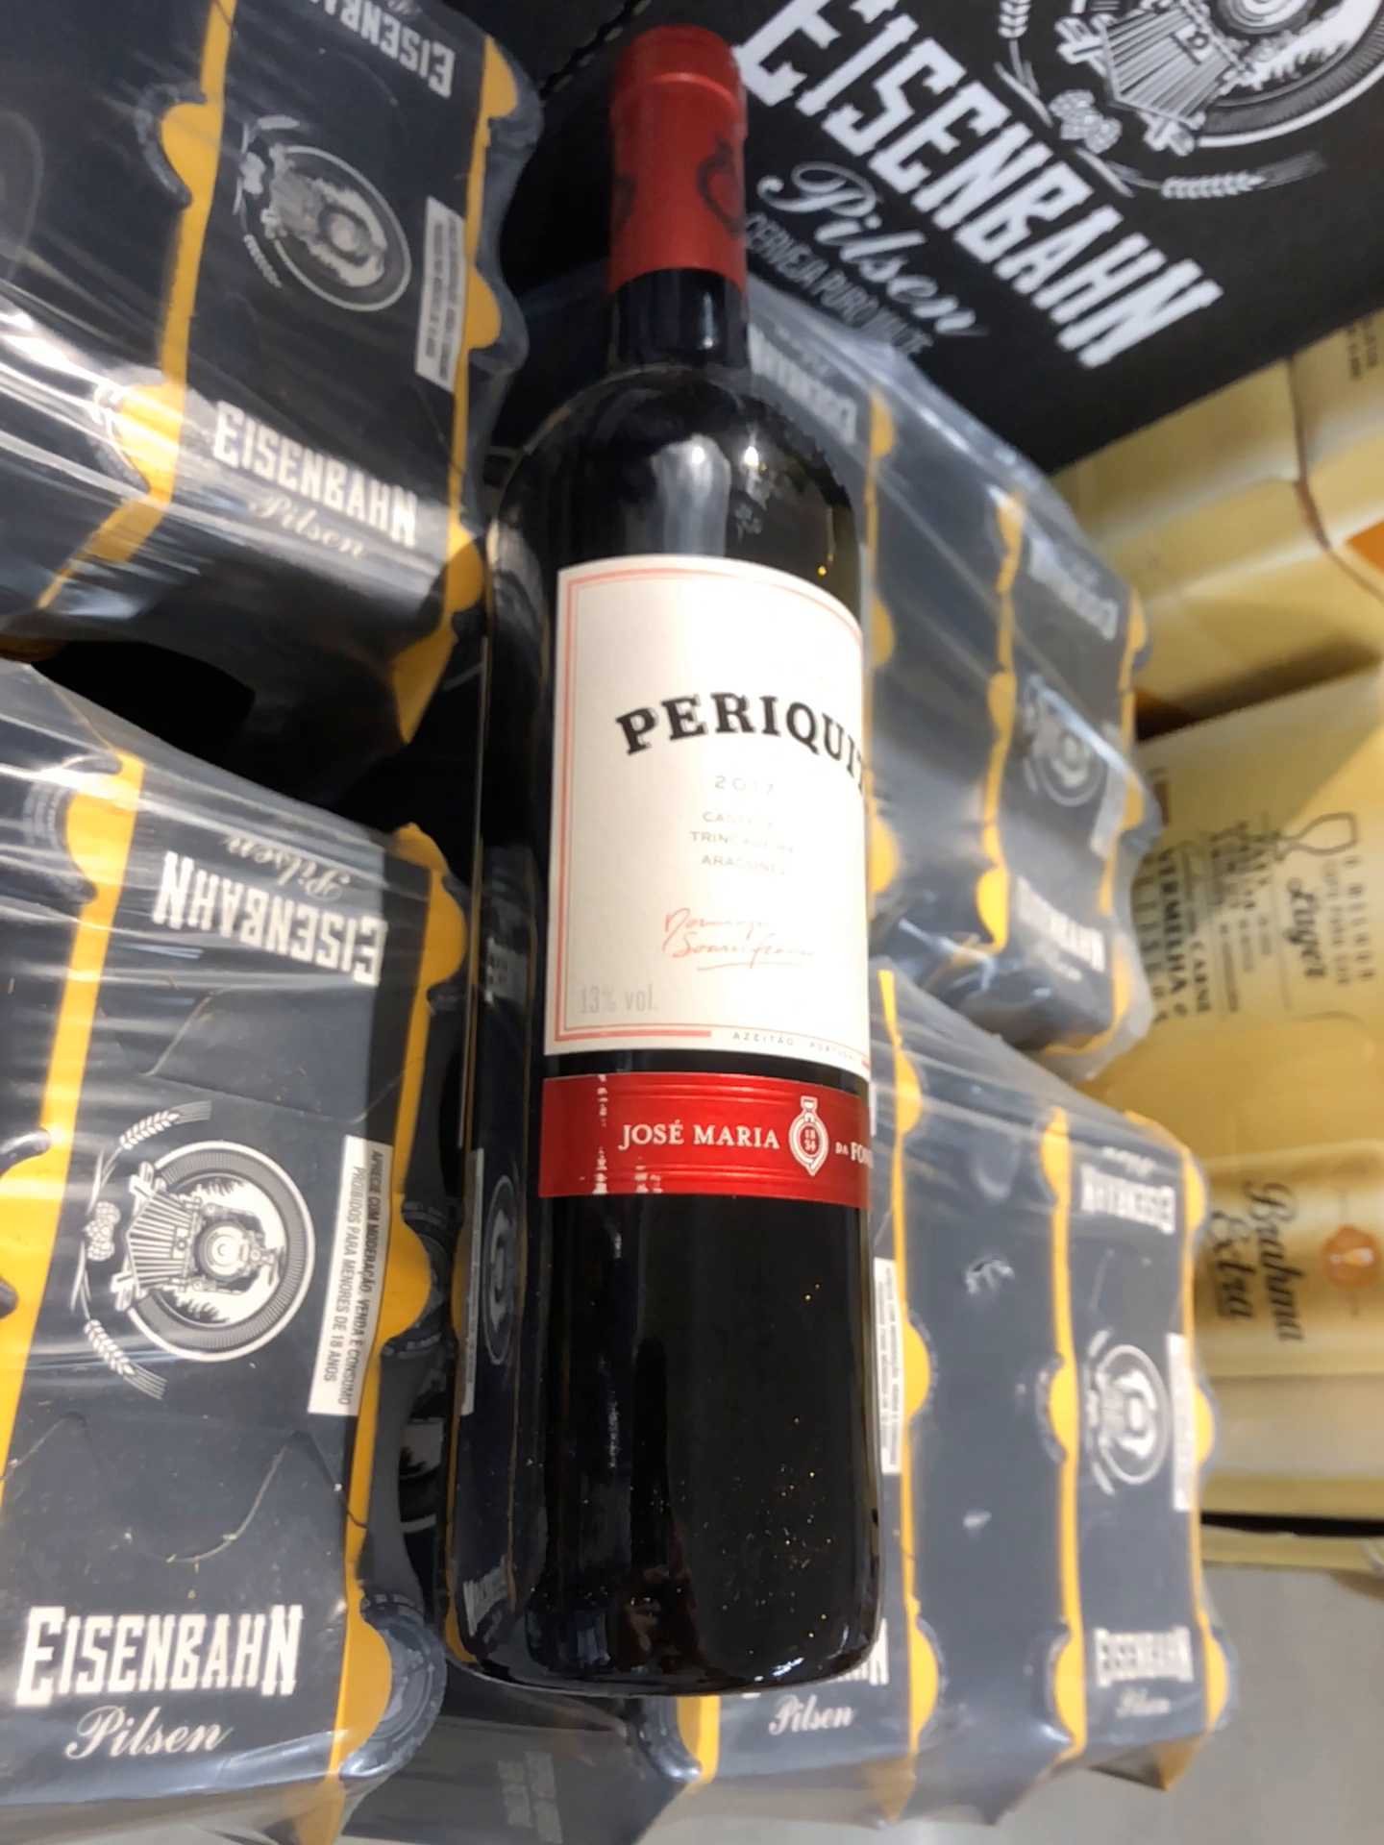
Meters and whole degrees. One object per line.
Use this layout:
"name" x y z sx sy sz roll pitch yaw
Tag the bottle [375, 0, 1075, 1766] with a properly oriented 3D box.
"bottle" 0.007 -0.043 0.282 0.080 0.070 0.330 15 68 -41
